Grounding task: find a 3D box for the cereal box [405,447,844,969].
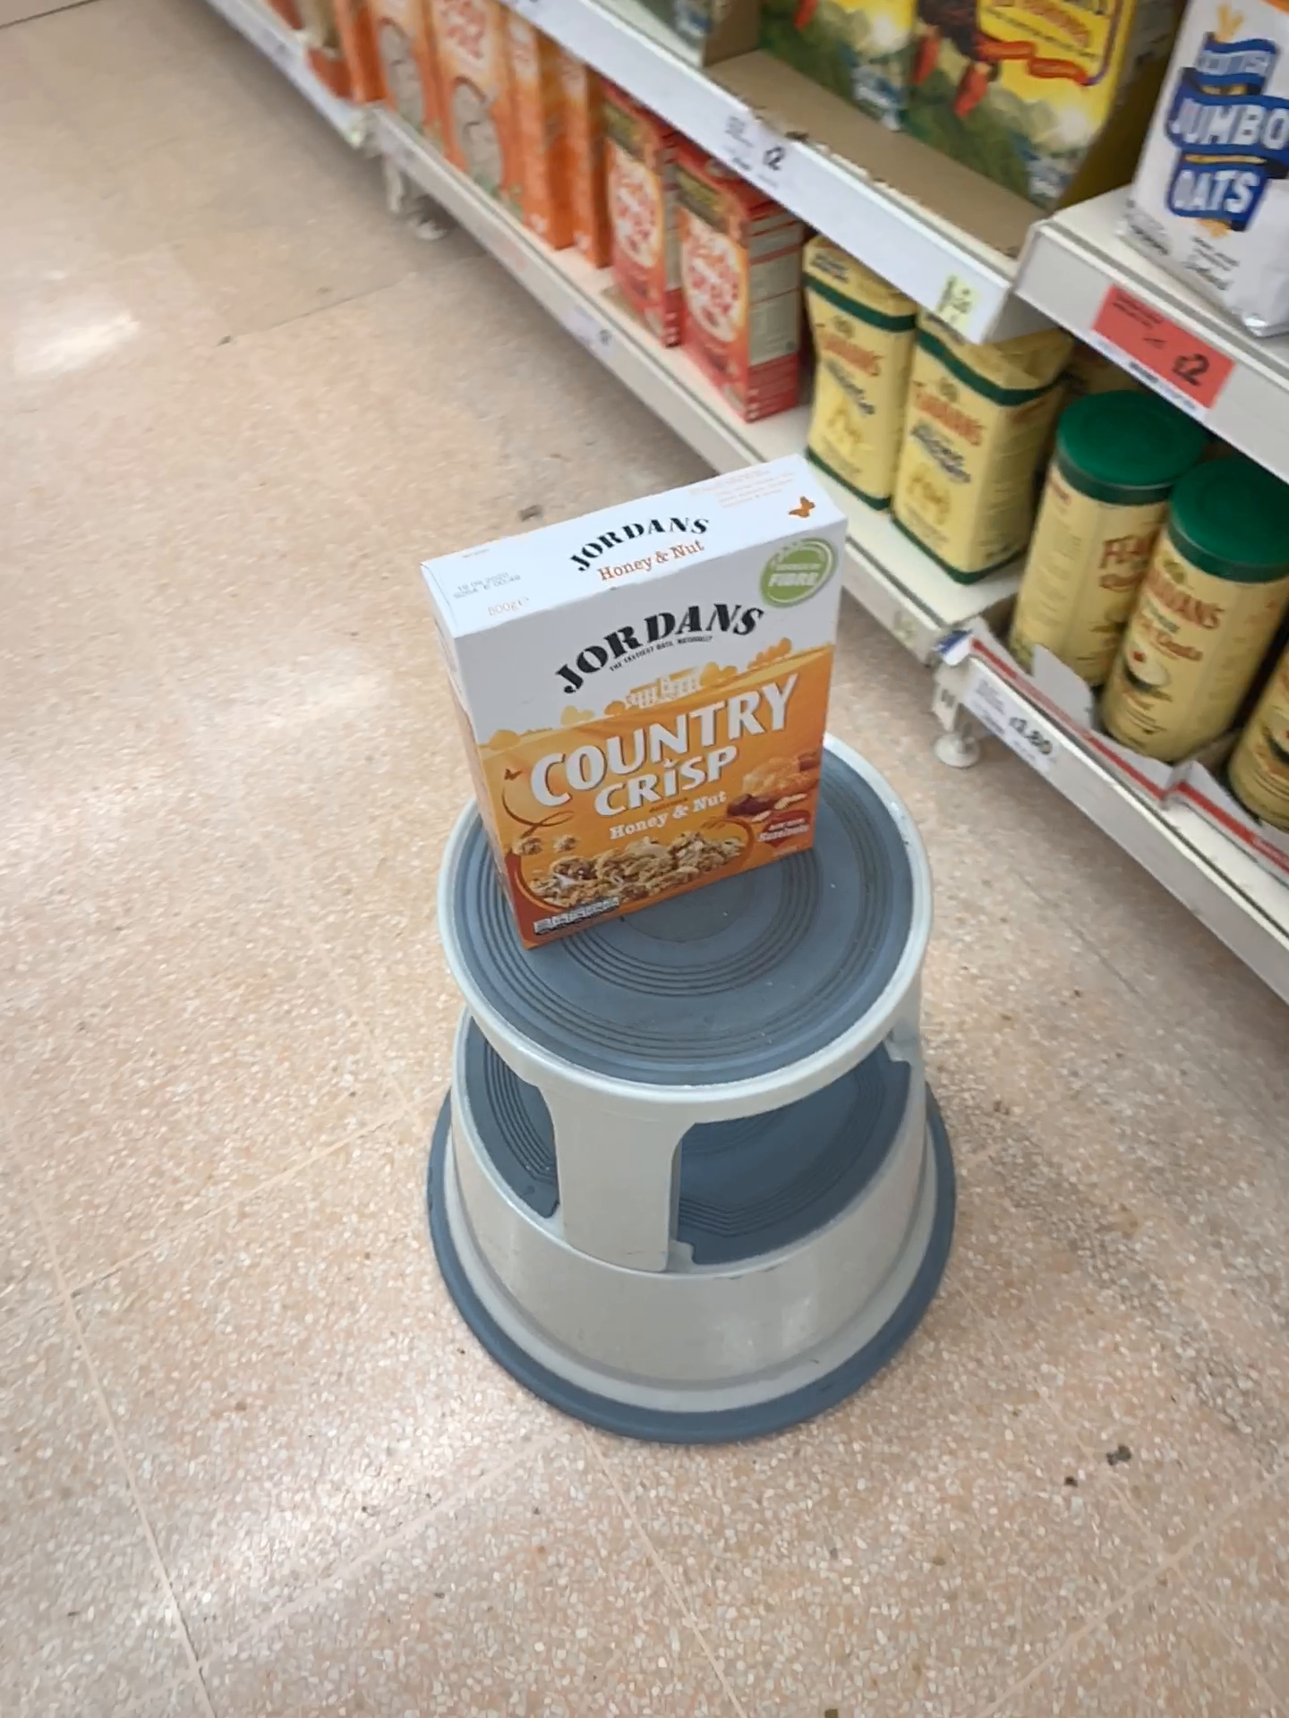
[{"bbox_3d":[-0.004,-0.062,0.663,0.180,0.258,0.050,-19,55,-11],"label":"cereal box"}]
